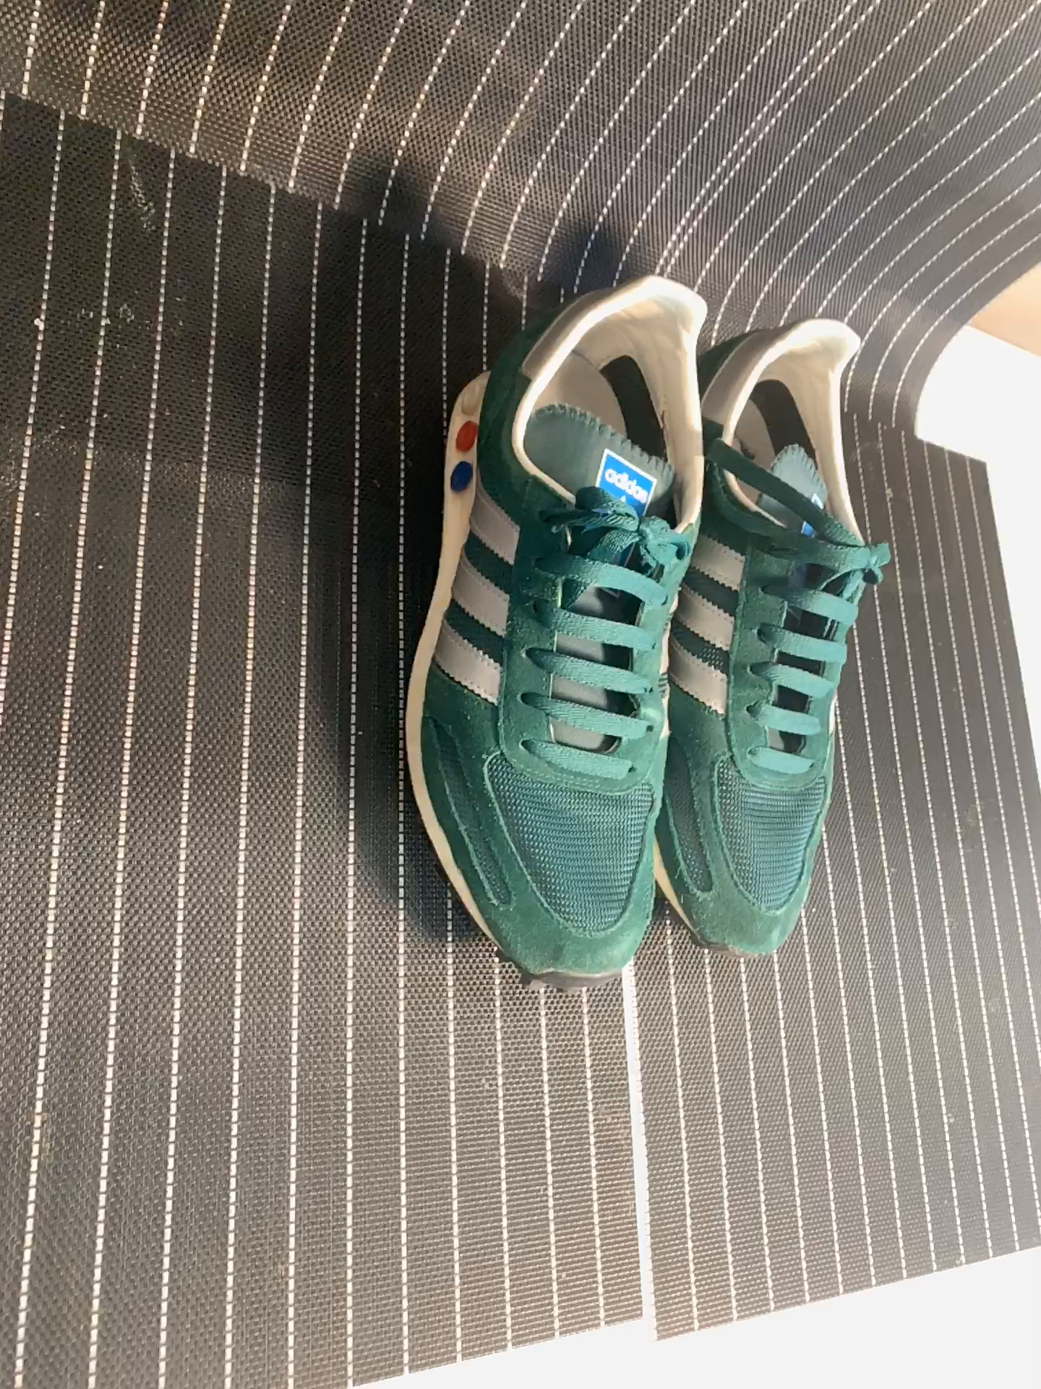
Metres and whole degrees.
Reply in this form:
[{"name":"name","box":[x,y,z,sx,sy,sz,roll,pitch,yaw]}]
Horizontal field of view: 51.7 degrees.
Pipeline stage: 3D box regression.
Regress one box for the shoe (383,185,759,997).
[{"name":"shoe","box":[0.015,-0.033,0.421,0.100,0.090,0.290,9,71,-30]}]

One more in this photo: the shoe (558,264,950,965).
[{"name":"shoe","box":[0.094,-0.025,0.486,0.100,0.119,0.280,9,71,-30]}]
